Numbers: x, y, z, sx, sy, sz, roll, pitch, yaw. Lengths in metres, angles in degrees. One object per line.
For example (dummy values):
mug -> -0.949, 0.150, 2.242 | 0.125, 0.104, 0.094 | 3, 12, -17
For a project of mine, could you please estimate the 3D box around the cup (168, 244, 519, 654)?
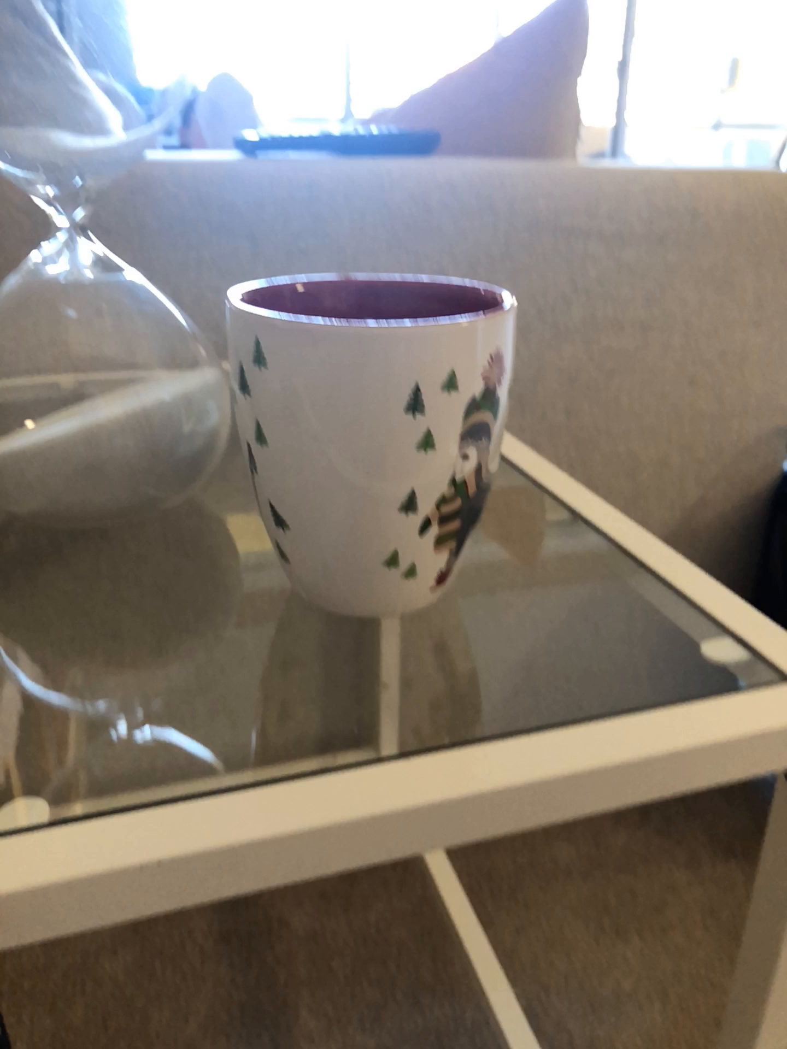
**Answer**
cup -> -0.006, -0.041, 0.339 | 0.100, 0.110, 0.151 | 4, 23, 7
